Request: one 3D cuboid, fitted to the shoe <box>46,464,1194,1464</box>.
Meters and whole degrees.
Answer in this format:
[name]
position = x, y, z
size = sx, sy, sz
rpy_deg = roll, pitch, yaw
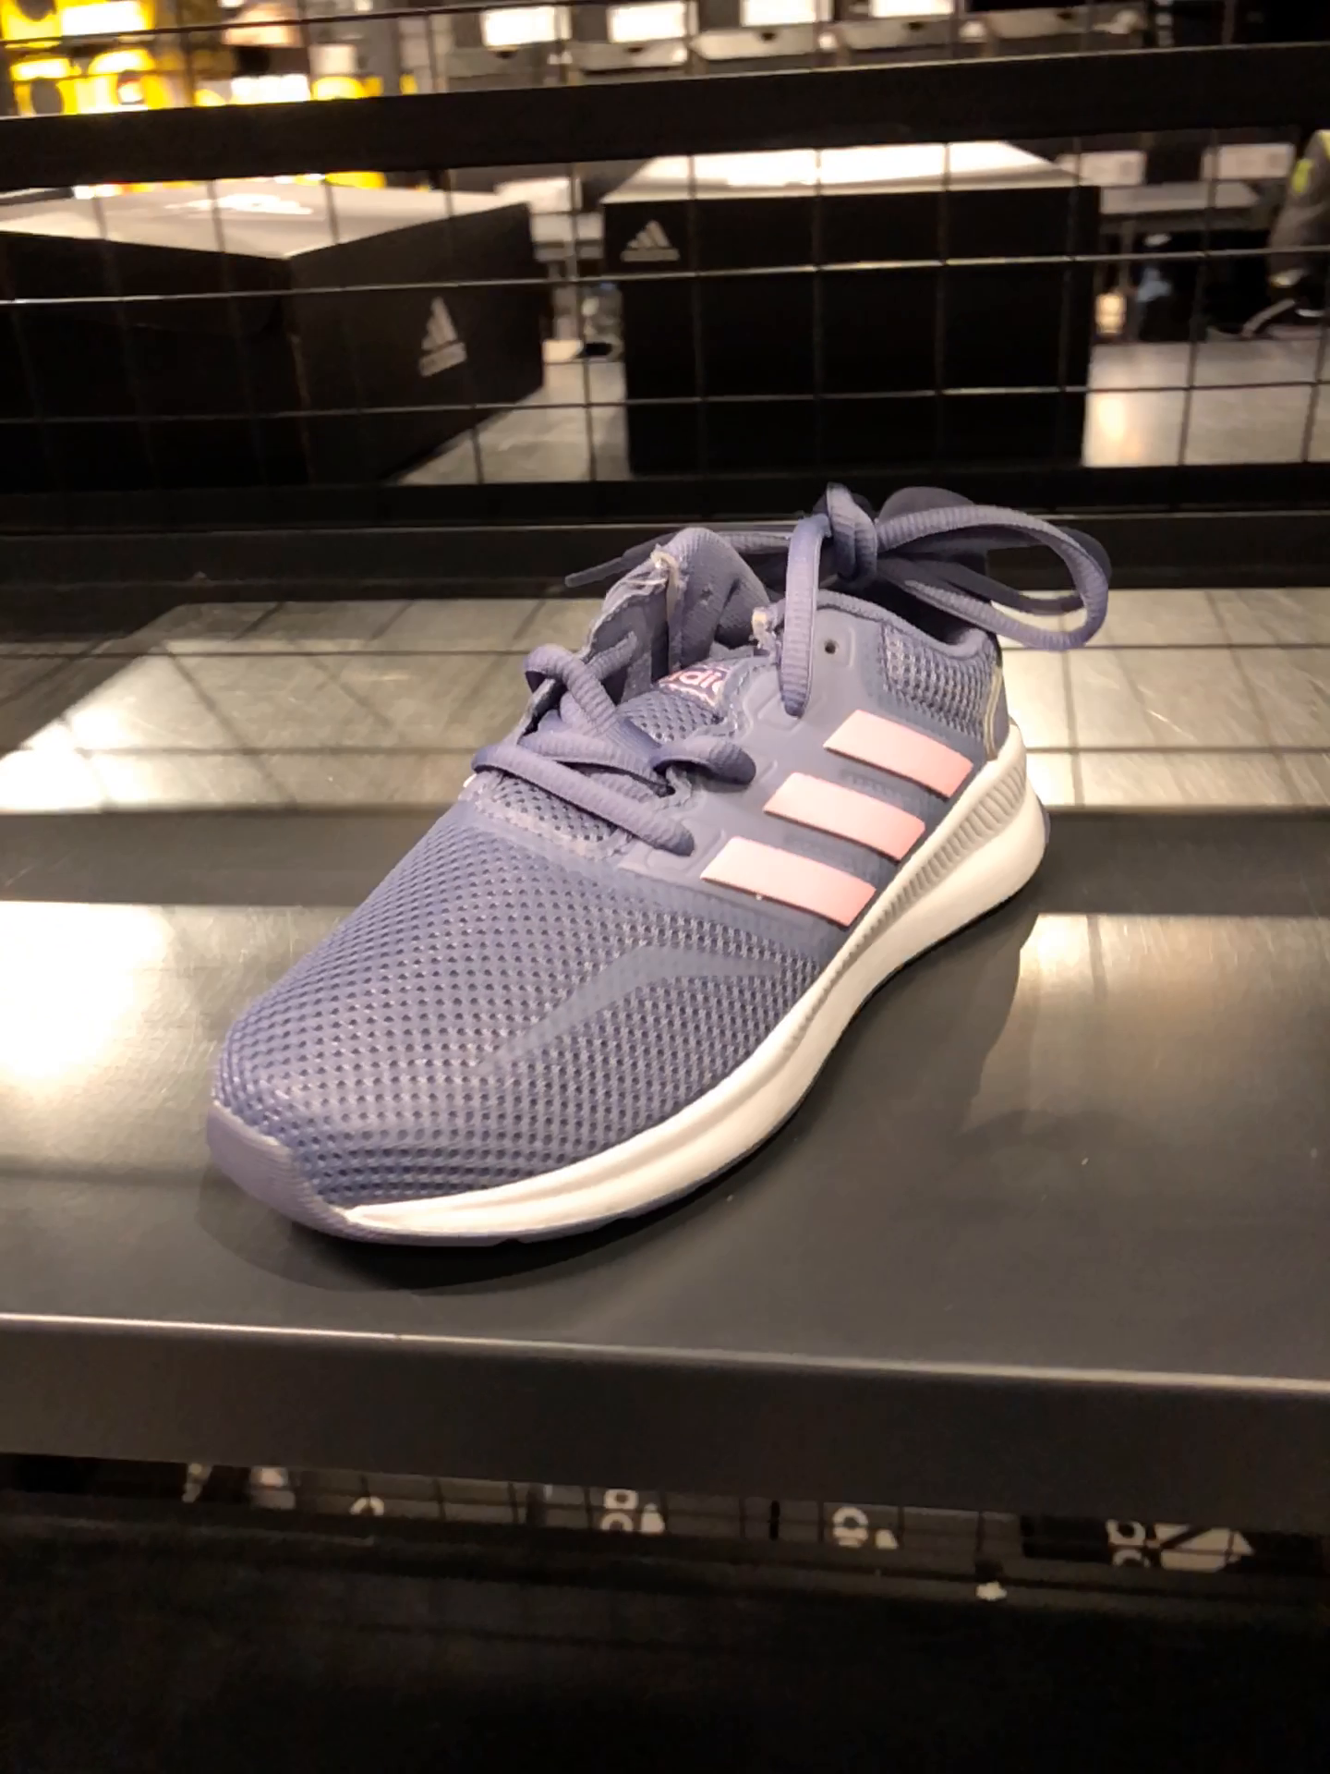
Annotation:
[shoe]
position = 0.012, -0.011, 0.295
size = 0.090, 0.090, 0.220
rpy_deg = 19, 36, 36
